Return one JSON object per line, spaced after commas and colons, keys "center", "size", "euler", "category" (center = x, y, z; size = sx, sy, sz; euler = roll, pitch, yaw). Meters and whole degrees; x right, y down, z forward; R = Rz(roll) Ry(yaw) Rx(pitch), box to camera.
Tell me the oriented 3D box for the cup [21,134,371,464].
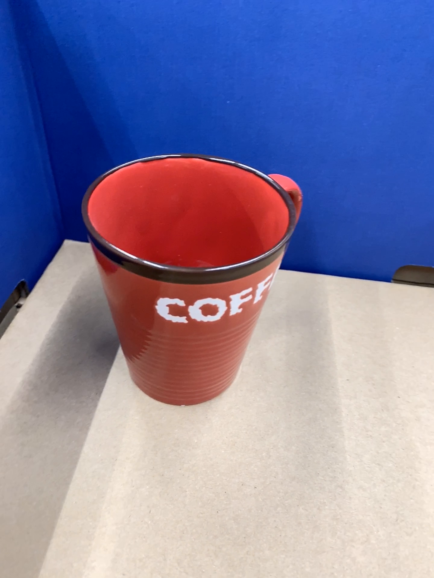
{"center": [-0.009, -0.007, 0.235], "size": [0.125, 0.092, 0.100], "euler": [-29, 49, -34], "category": "cup"}
